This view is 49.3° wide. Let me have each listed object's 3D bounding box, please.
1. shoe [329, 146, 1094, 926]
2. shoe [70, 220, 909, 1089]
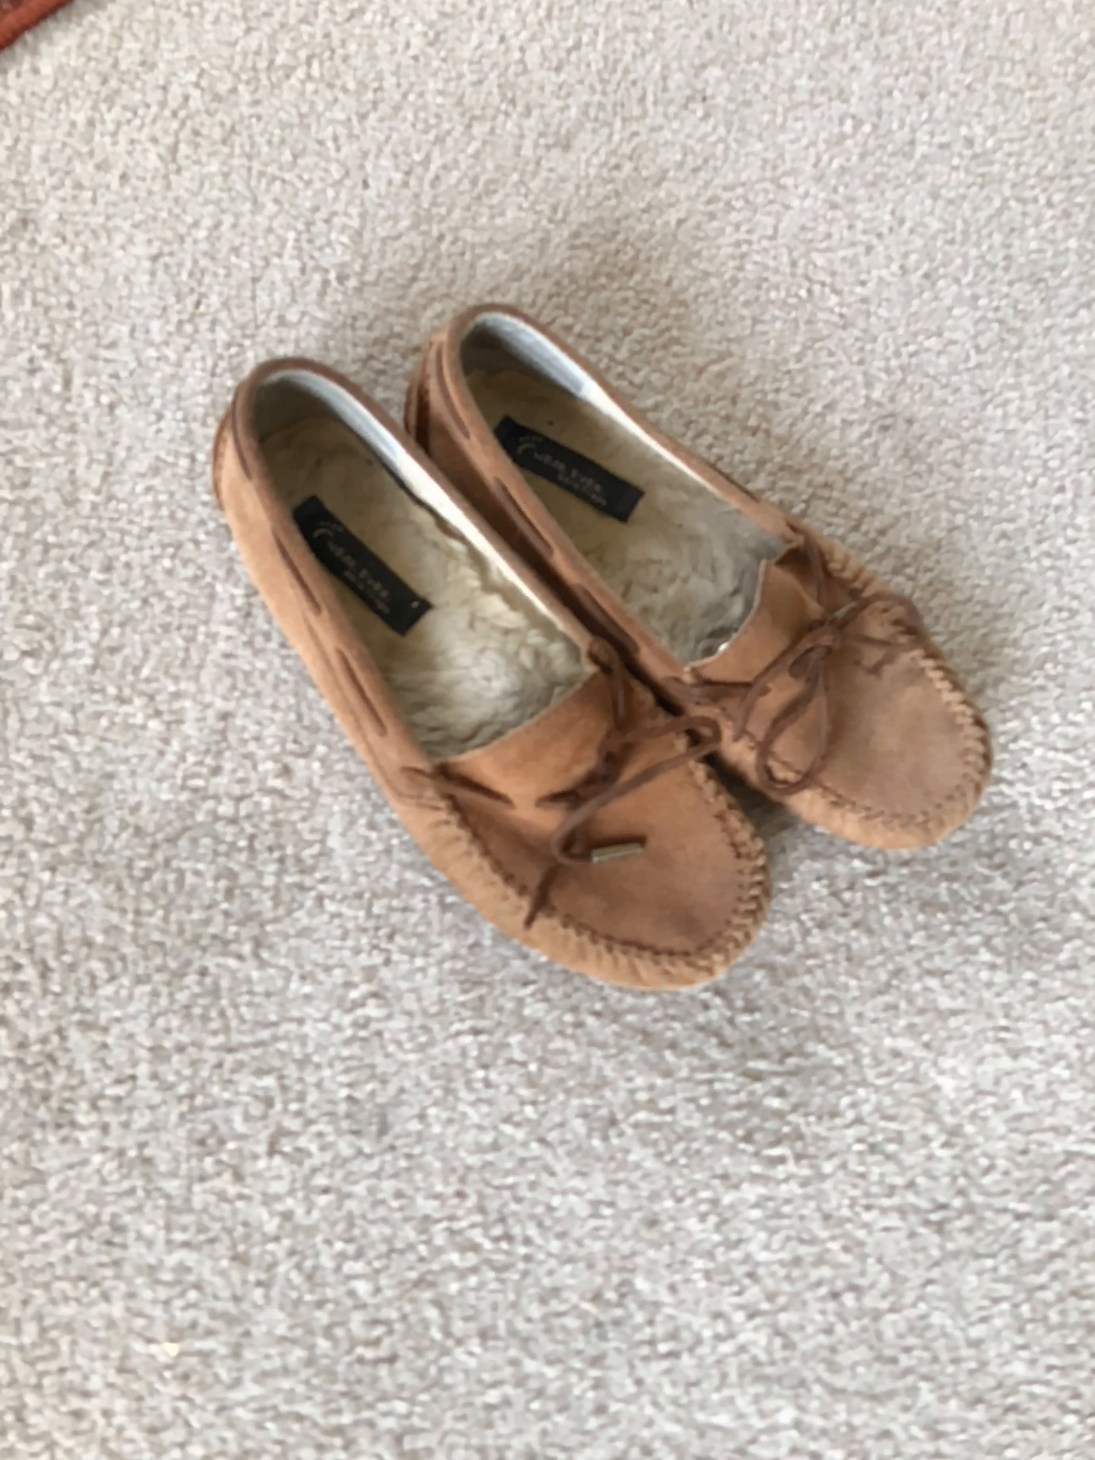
[{"bbox_3d":[0.058,-0.065,0.418,0.274,0.068,0.098,43,72,4],"label":"shoe"},{"bbox_3d":[-0.022,-0.025,0.393,0.105,0.068,0.270,-39,84,-17],"label":"shoe"}]
